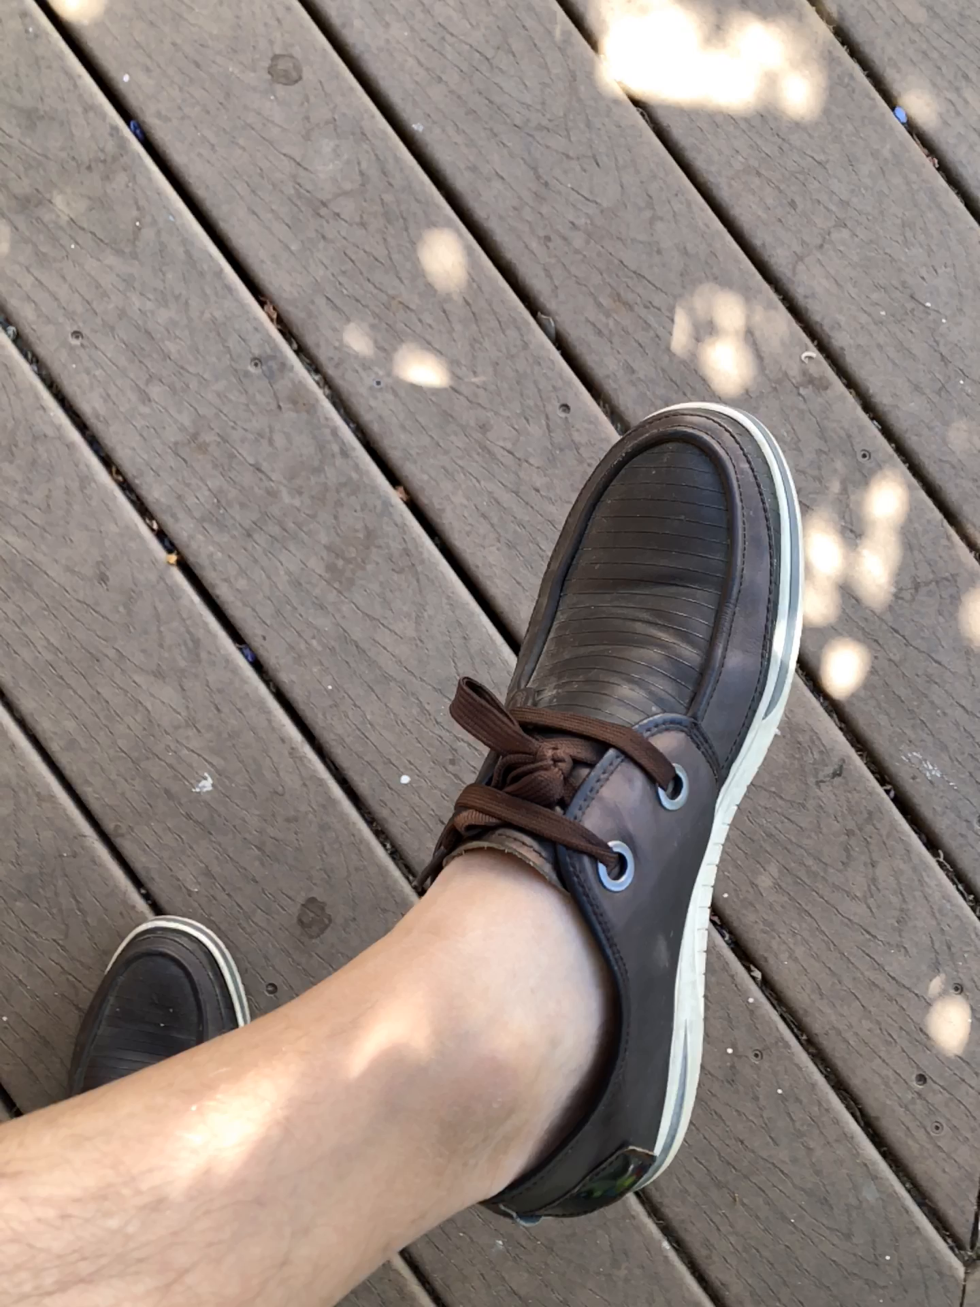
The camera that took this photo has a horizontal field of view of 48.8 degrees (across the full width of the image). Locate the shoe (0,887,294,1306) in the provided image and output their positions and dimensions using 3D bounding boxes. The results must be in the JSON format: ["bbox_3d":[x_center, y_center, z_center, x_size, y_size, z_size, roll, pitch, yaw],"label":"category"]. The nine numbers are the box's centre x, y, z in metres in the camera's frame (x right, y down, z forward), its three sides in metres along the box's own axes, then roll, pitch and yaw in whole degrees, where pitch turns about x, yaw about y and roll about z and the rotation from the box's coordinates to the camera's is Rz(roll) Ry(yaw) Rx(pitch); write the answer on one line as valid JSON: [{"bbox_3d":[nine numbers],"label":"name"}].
[{"bbox_3d":[-0.198,0.272,0.600,0.103,0.099,0.245,14,88,-2],"label":"shoe"}]

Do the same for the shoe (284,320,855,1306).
[{"bbox_3d":[0.025,0.041,0.330,0.090,0.084,0.255,12,89,42],"label":"shoe"}]
